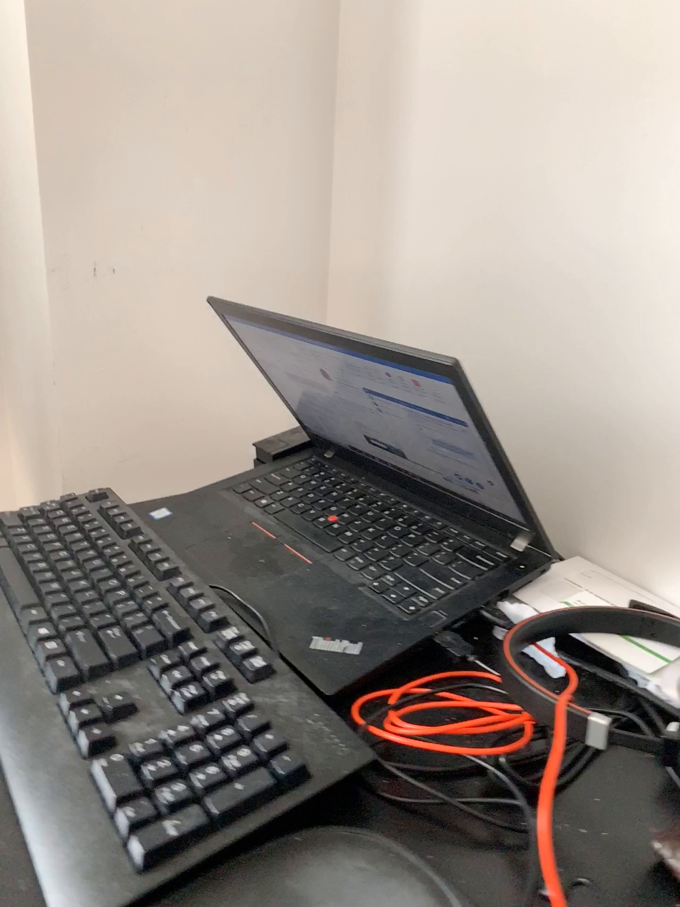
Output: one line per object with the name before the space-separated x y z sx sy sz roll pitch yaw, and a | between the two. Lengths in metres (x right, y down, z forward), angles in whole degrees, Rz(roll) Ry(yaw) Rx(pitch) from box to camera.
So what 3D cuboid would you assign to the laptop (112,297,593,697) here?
laptop | -0.014 -0.008 0.603 0.237 0.172 0.335 -17 26 -34
